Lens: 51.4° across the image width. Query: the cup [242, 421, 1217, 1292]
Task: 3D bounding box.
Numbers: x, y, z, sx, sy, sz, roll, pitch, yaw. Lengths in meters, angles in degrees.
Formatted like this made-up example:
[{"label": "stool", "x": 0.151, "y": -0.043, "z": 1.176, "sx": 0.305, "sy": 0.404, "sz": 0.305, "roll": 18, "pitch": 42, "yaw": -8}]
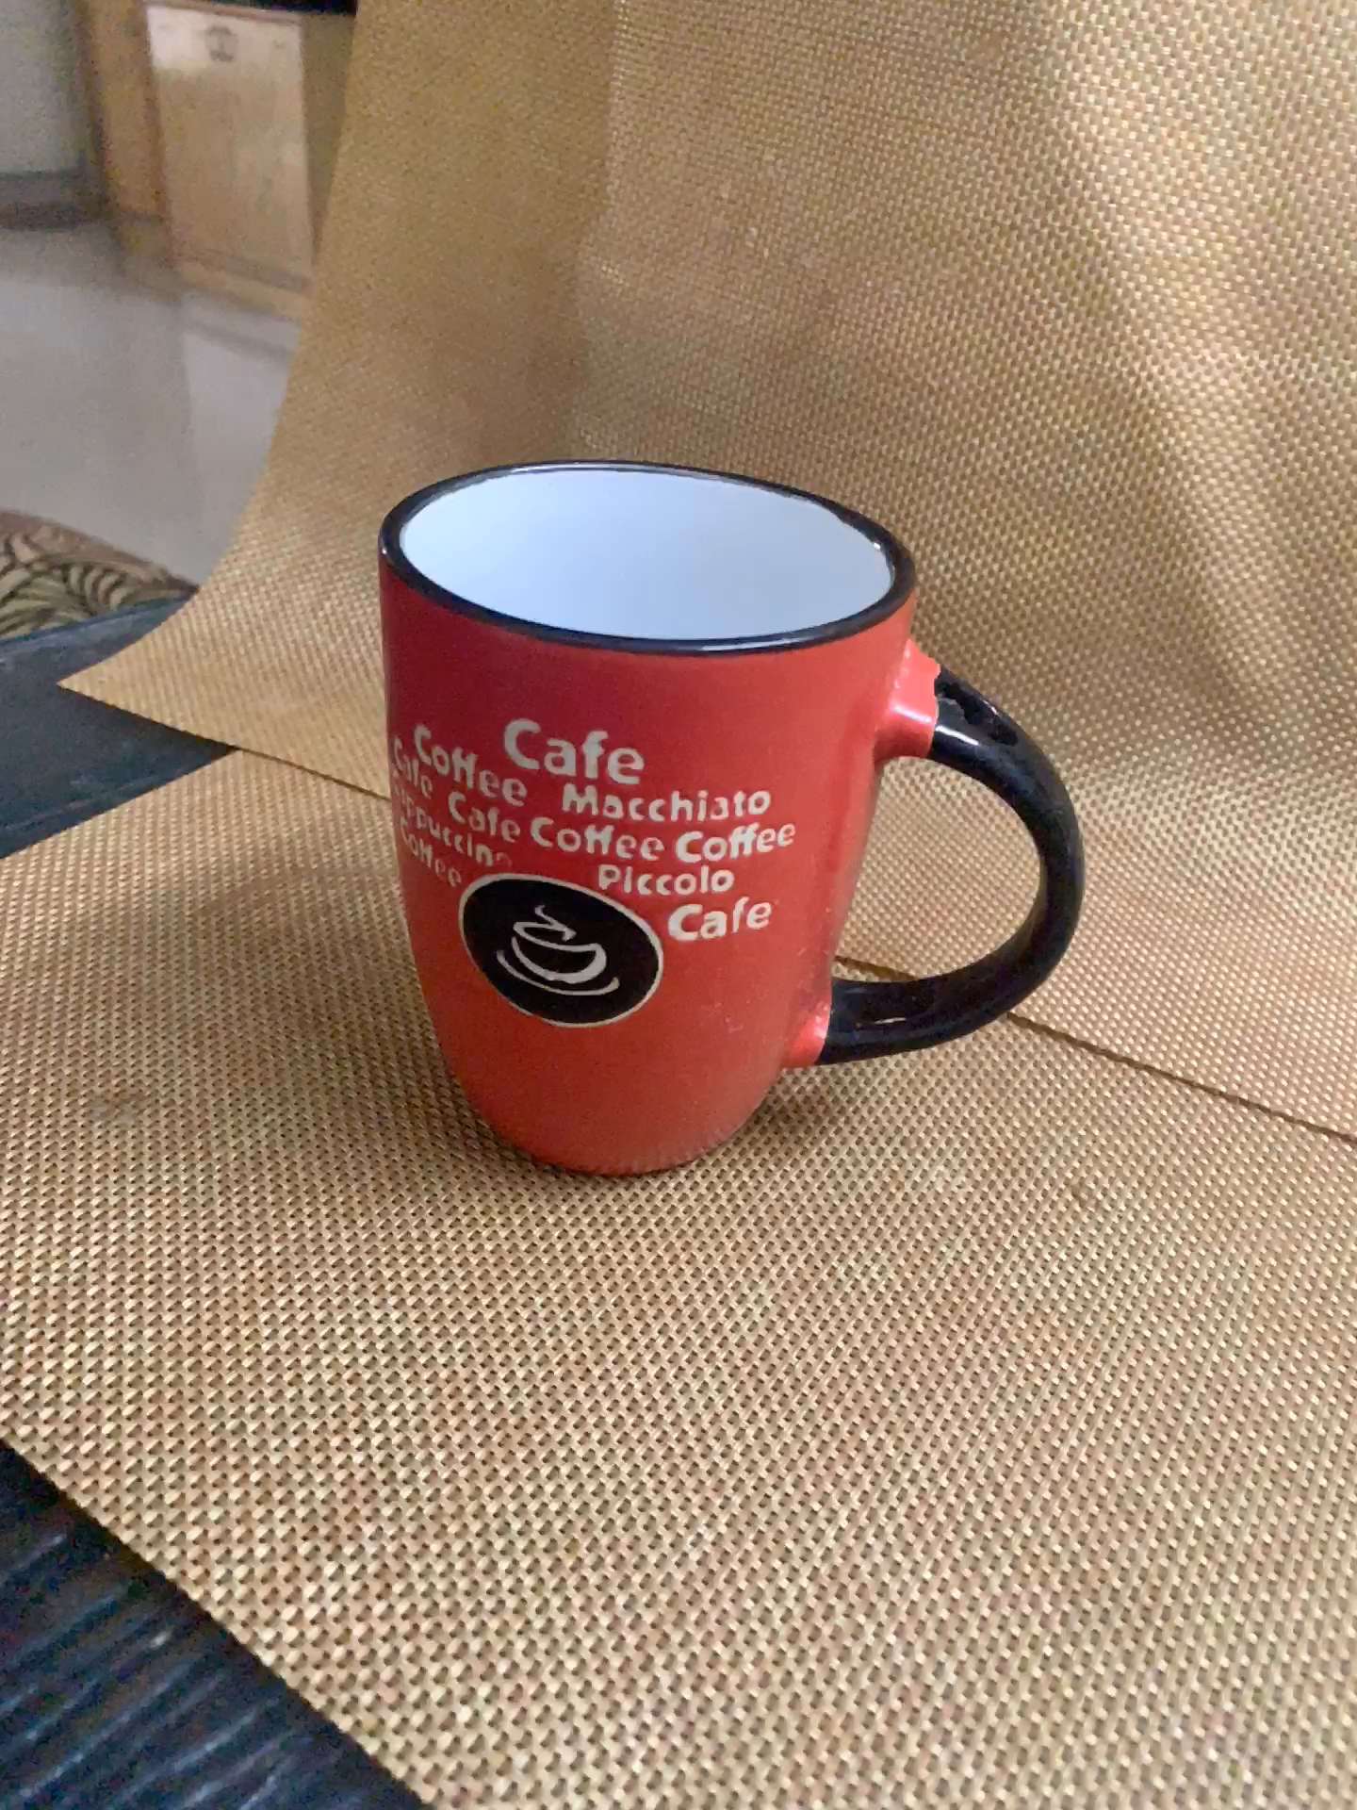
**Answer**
[{"label": "cup", "x": 0.006, "y": -0.013, "z": 0.237, "sx": 0.120, "sy": 0.099, "sz": 0.091, "roll": 7, "pitch": 33, "yaw": 3}]
